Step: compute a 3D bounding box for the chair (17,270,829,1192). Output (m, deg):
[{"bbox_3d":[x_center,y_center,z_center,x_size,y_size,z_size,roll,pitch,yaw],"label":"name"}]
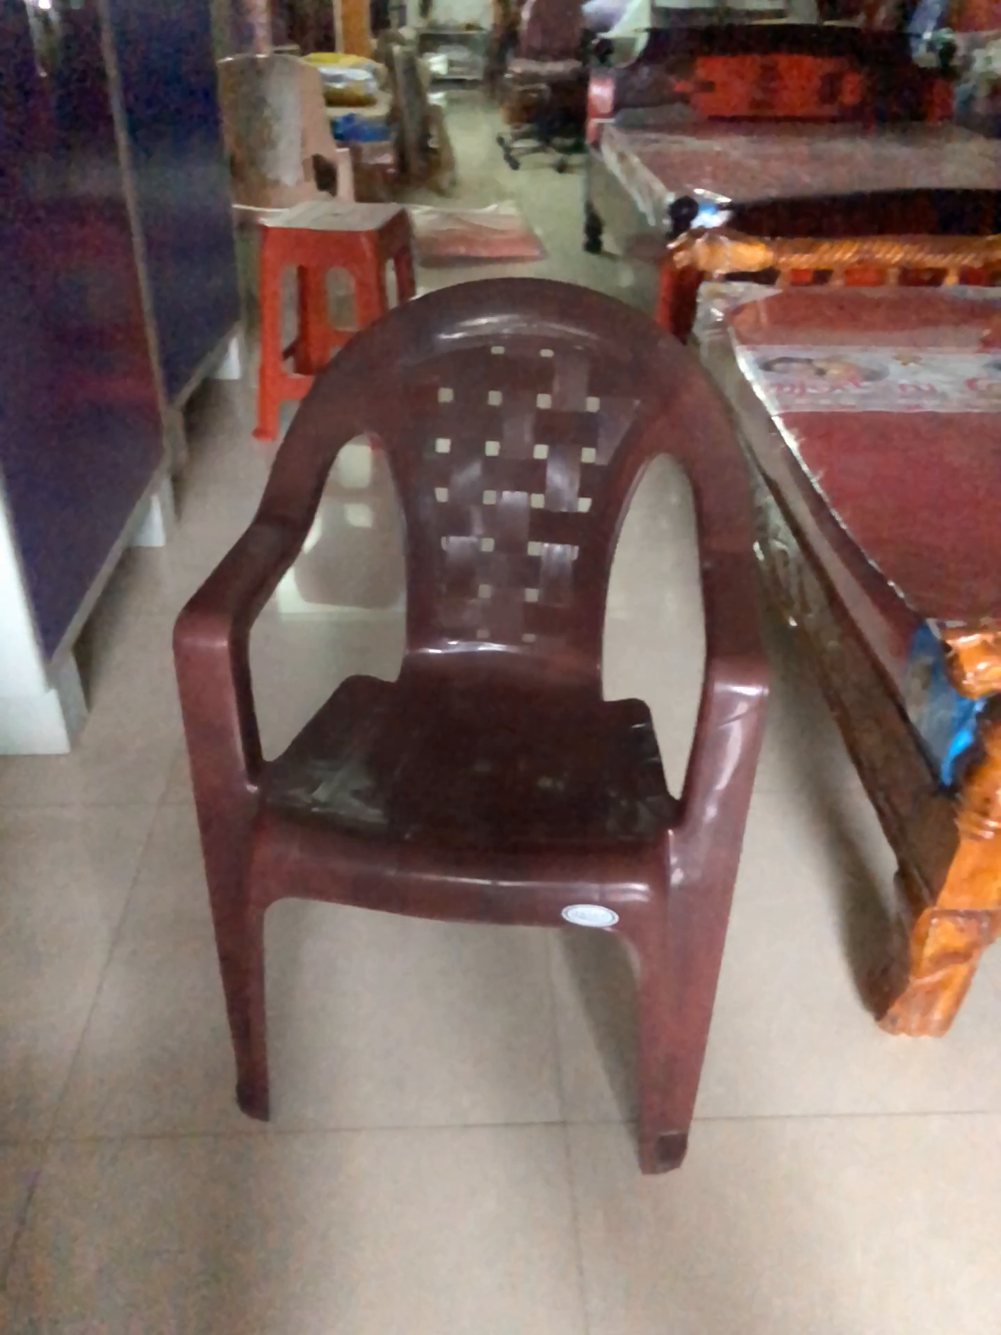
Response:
[{"bbox_3d":[-0.039,0.053,1.284,0.600,0.836,0.613,4,33,4],"label":"chair"}]
